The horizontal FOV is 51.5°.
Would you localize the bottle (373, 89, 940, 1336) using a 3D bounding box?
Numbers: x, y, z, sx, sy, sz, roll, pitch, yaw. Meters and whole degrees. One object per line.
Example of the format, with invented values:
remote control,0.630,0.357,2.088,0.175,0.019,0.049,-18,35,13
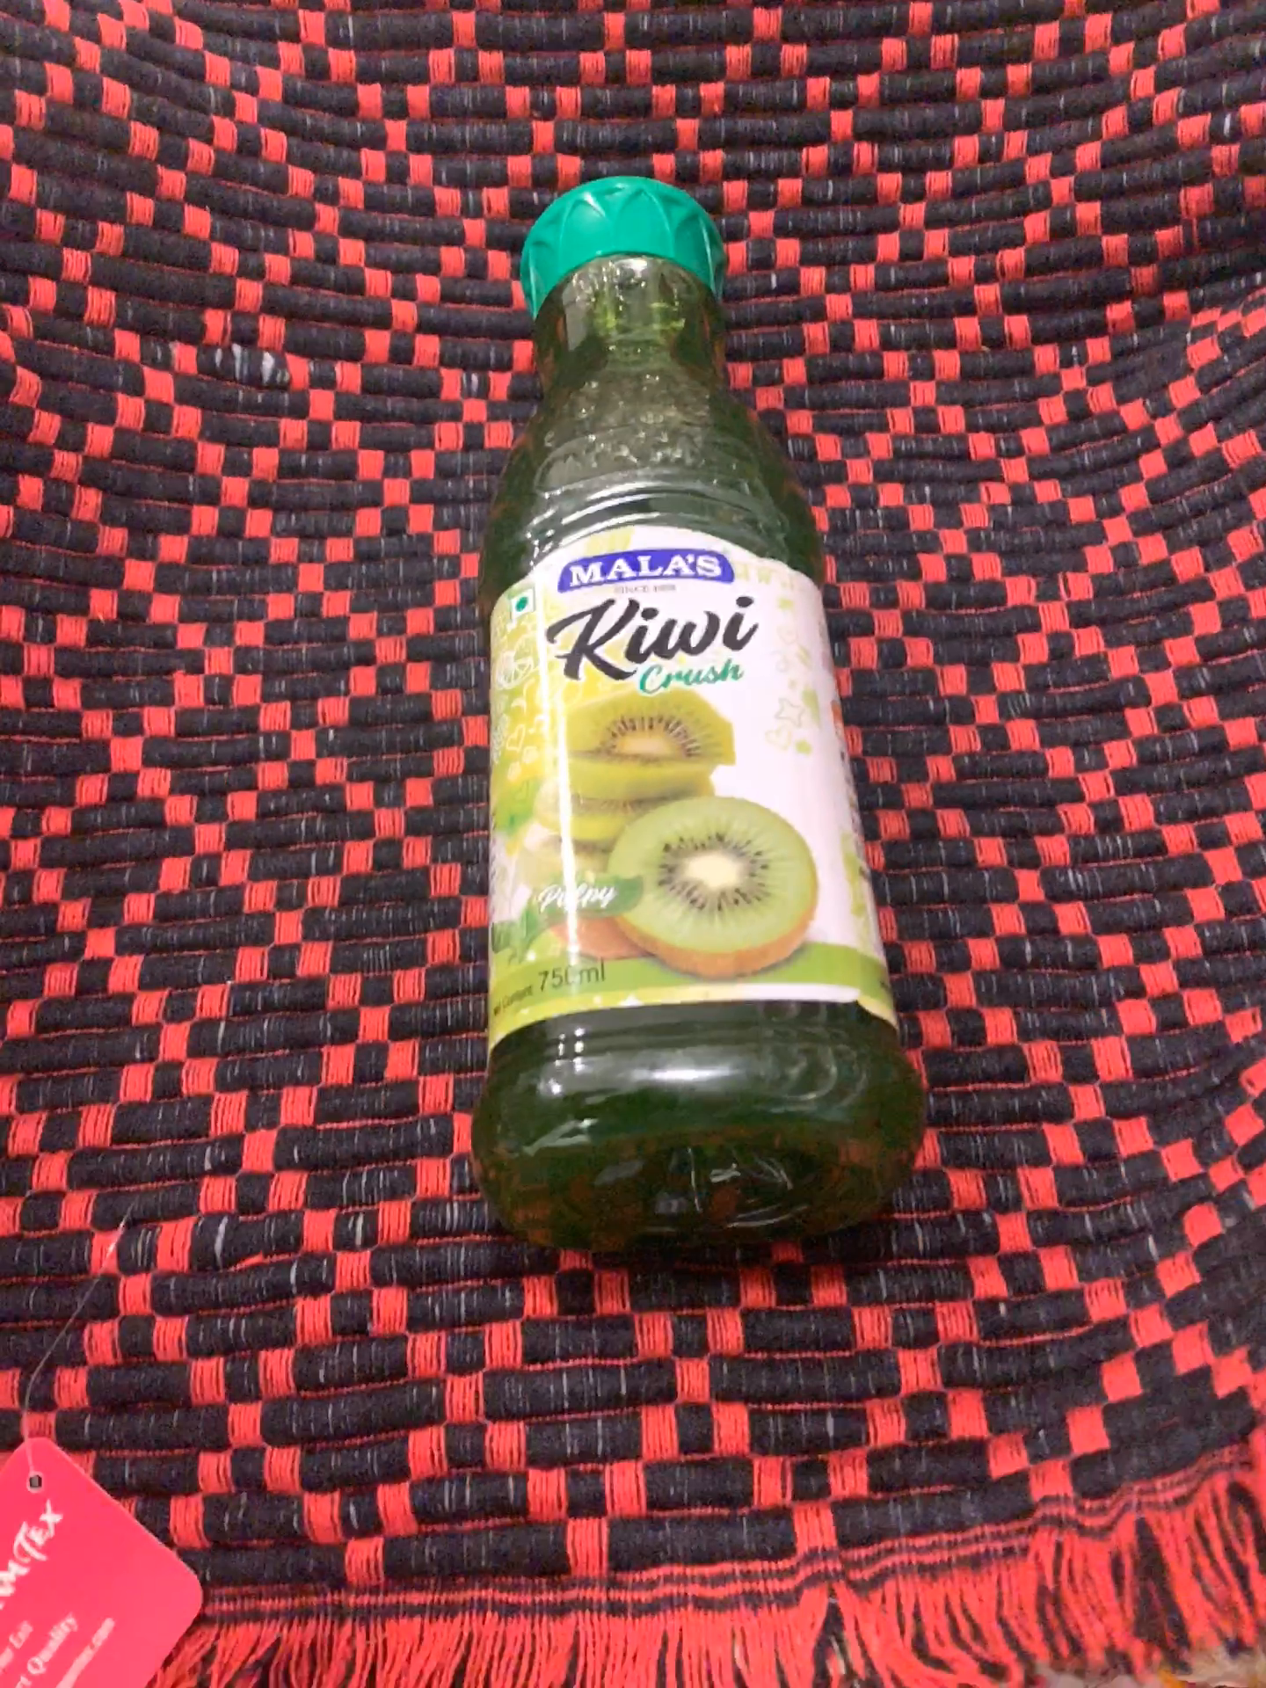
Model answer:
bottle,-0.003,-0.046,0.268,0.070,0.080,0.261,-3,56,-1
